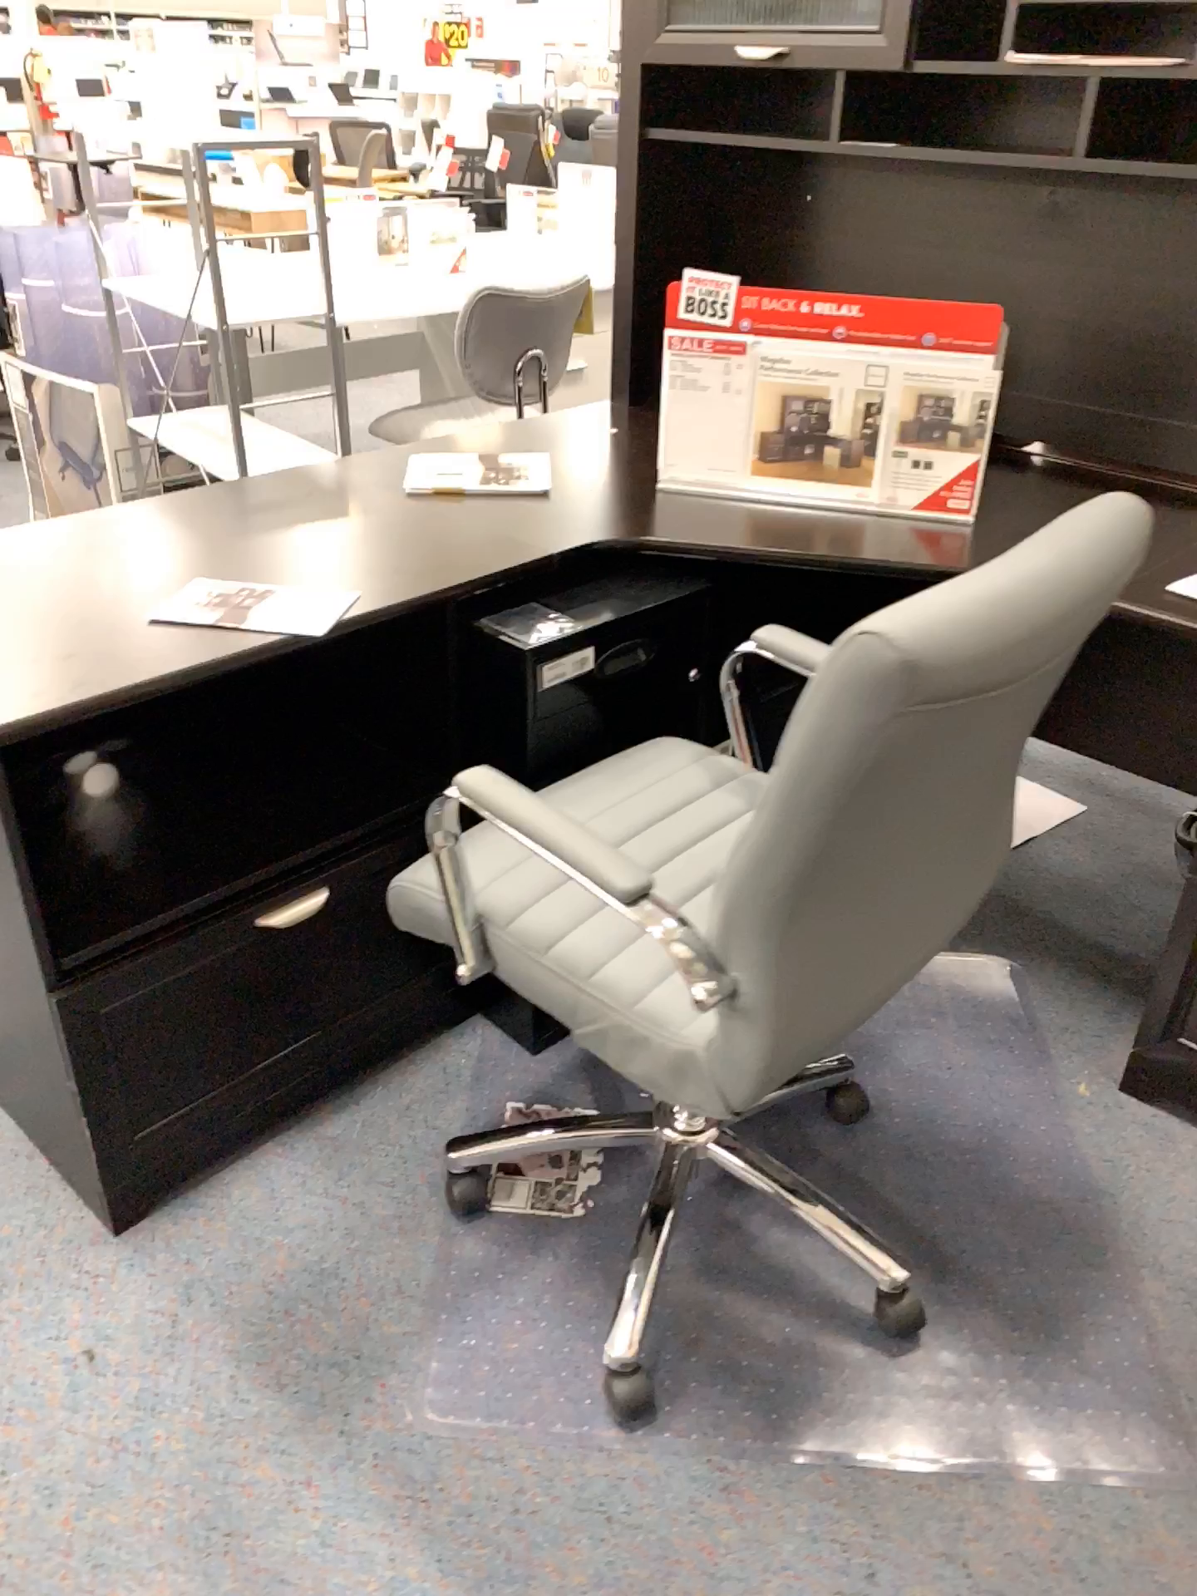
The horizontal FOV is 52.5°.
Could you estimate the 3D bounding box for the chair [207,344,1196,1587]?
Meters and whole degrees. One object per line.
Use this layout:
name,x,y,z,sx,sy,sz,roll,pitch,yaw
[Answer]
chair,0.107,0.096,1.342,0.658,0.962,0.710,-25,40,-37
